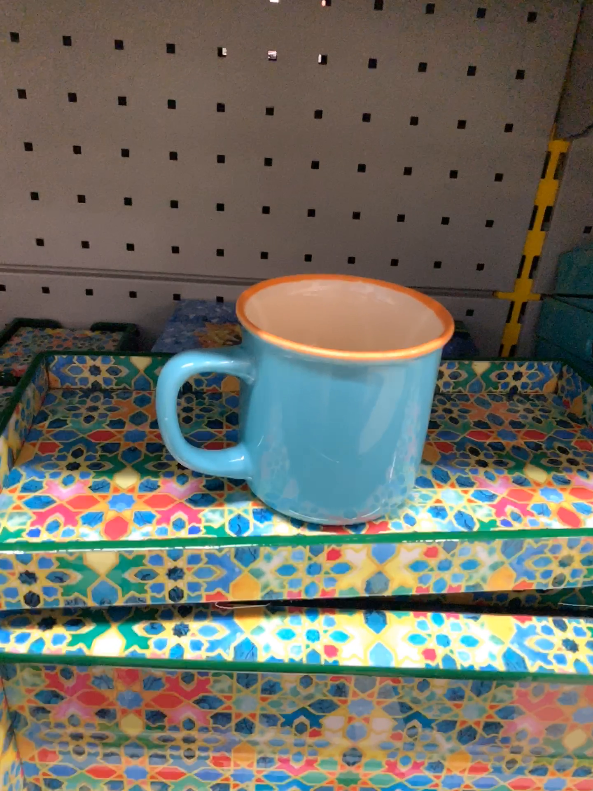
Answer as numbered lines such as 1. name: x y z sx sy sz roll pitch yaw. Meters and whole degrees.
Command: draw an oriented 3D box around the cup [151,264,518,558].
1. cup: 0.005 -0.002 0.255 0.120 0.080 0.090 -4 29 -14
